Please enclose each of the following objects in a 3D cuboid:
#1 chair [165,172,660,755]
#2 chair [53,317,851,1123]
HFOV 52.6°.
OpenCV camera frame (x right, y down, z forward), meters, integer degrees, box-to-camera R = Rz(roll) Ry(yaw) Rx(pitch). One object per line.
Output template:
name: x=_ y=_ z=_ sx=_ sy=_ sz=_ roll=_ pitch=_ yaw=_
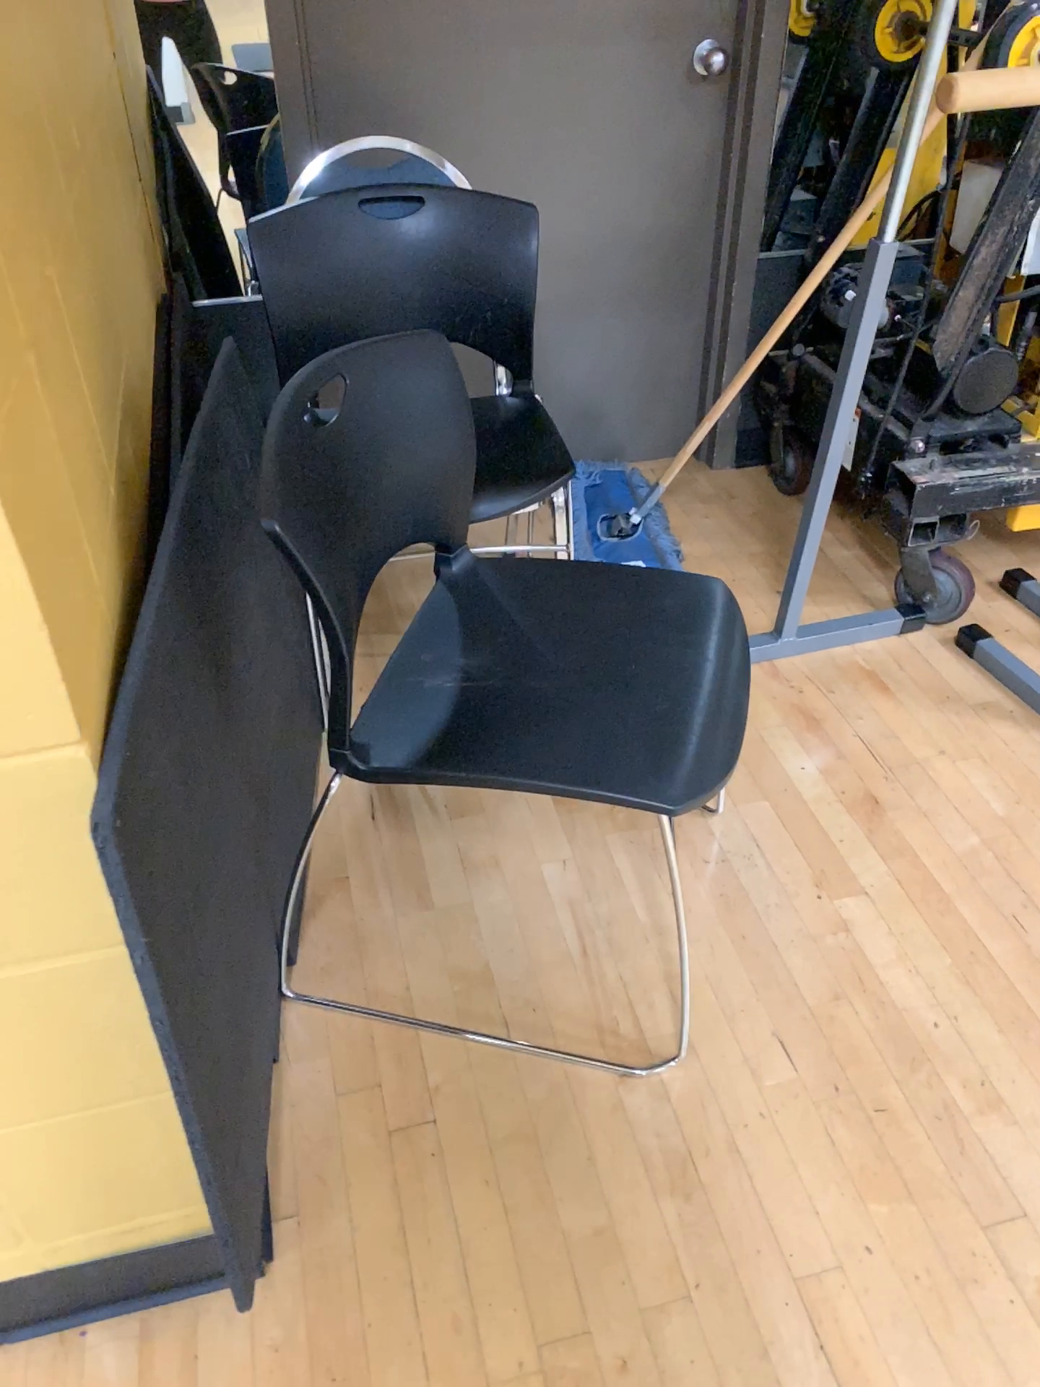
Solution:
chair: x=-0.200 y=-0.464 z=1.971 sx=0.676 sy=0.762 sz=0.780 roll=-6 pitch=38 yaw=-8
chair: x=-0.011 y=-0.001 z=1.386 sx=0.726 sy=0.722 sz=0.639 roll=8 pitch=38 yaw=11
